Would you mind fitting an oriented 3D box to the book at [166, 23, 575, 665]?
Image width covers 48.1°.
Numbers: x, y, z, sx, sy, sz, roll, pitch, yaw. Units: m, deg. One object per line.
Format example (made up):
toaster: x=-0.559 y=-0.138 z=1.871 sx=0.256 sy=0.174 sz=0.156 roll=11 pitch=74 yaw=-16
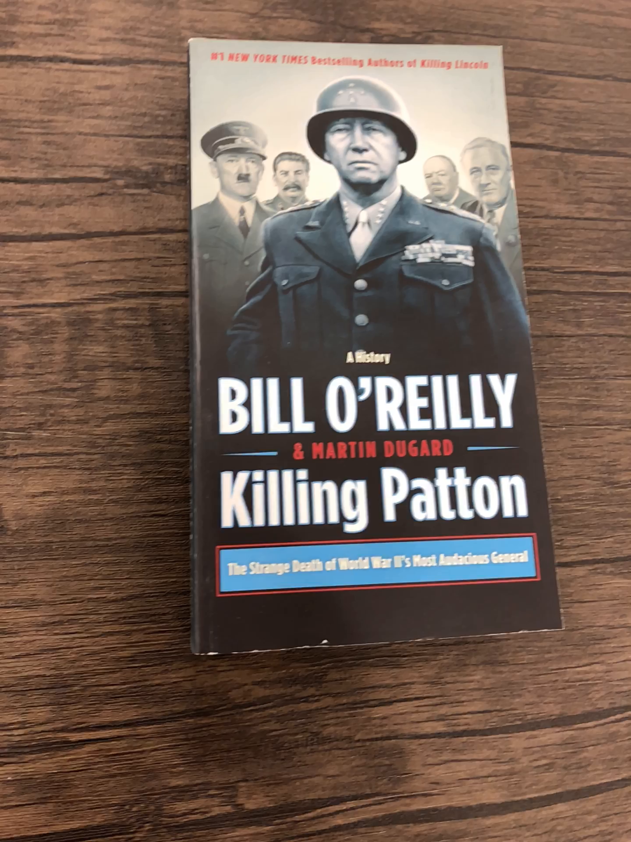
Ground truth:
book: x=0.010 y=-0.026 z=0.216 sx=0.105 sy=0.040 sz=0.182 roll=-1 pitch=79 yaw=-5
